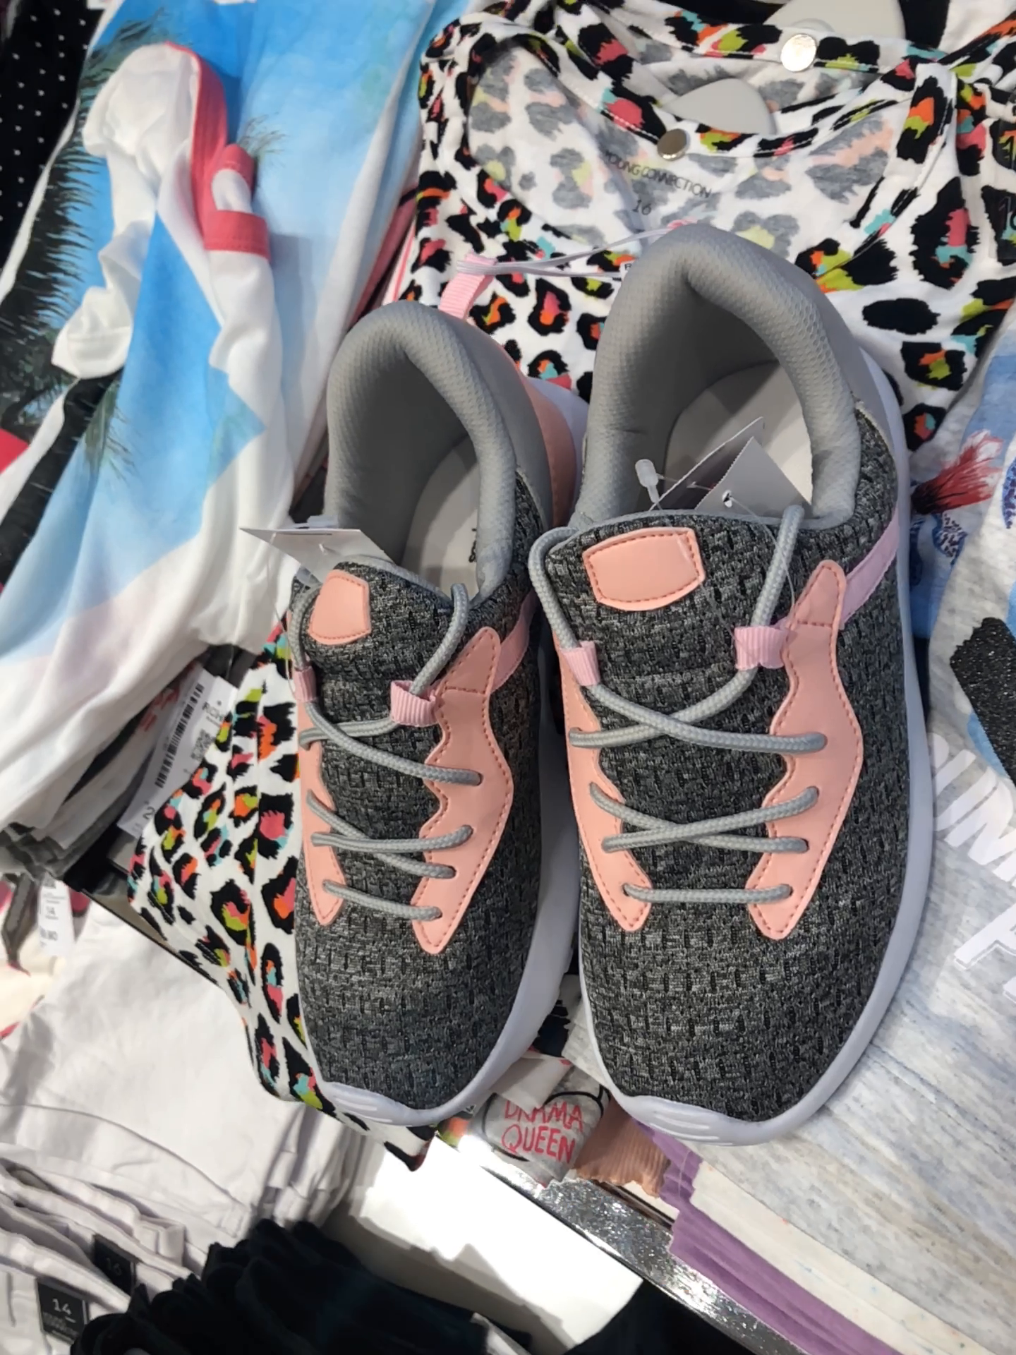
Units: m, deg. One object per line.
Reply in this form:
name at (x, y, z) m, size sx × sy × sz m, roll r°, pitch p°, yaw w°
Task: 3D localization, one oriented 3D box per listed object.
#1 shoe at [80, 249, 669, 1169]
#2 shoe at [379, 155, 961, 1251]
shoe at (-0.030, 0.009, 0.332) m, size 0.100 × 0.100 × 0.220 m, roll 2°, pitch 78°, yaw 31°
shoe at (0.050, 0.006, 0.279) m, size 0.100 × 0.100 × 0.210 m, roll -1°, pitch 77°, yaw 30°
